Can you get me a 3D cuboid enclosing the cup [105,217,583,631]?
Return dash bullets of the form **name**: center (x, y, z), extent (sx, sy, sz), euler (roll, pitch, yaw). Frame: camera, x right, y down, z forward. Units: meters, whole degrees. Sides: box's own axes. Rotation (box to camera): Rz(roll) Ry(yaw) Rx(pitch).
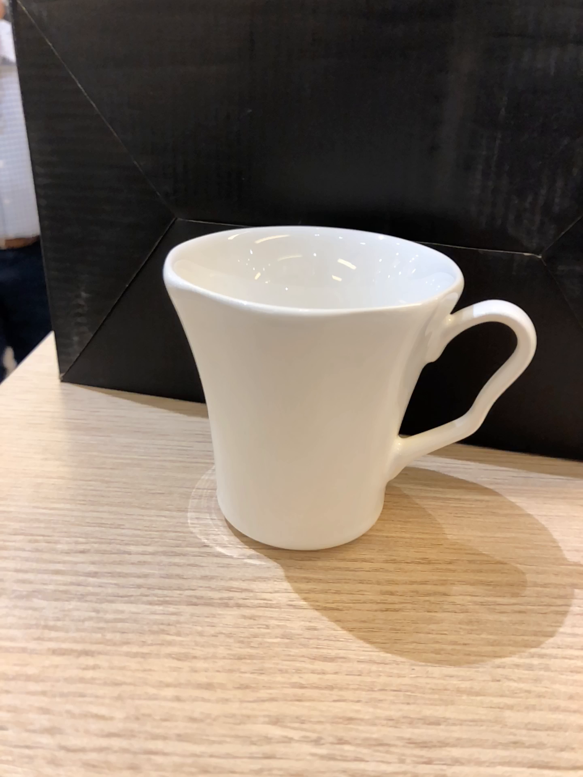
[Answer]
- **cup**: center (0.018, 0.002, 0.192), extent (0.110, 0.079, 0.081), euler (6, 27, 9)
